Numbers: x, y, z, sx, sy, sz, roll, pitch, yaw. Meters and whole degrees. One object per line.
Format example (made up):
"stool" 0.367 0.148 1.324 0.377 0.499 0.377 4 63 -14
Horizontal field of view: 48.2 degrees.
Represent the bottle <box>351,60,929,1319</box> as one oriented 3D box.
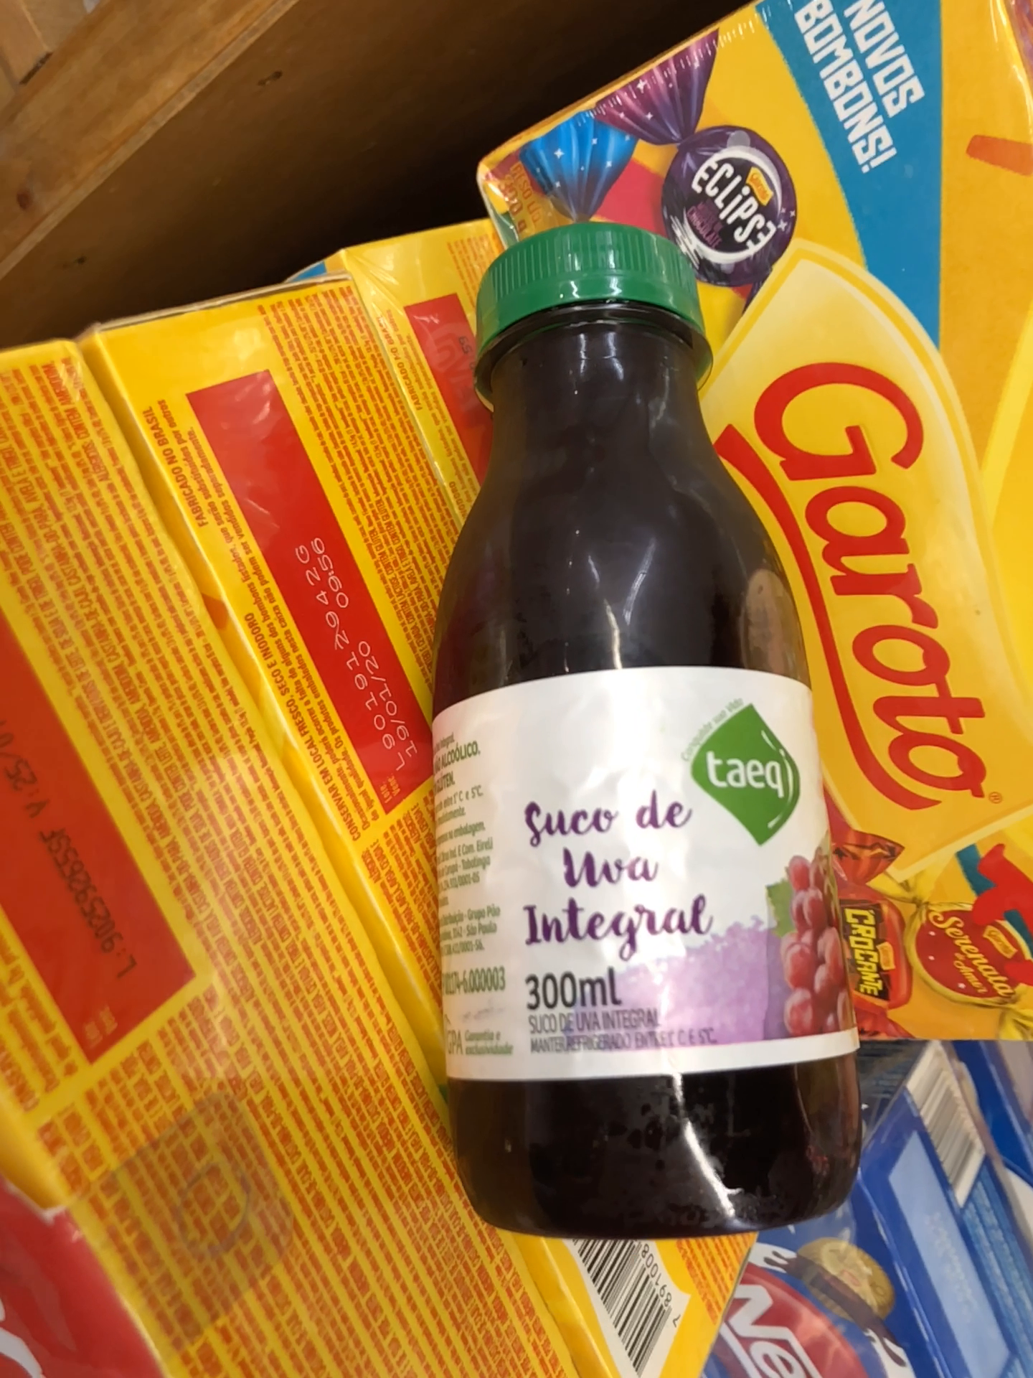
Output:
"bottle" 0.018 -0.001 0.192 0.070 0.050 0.170 15 66 -49
